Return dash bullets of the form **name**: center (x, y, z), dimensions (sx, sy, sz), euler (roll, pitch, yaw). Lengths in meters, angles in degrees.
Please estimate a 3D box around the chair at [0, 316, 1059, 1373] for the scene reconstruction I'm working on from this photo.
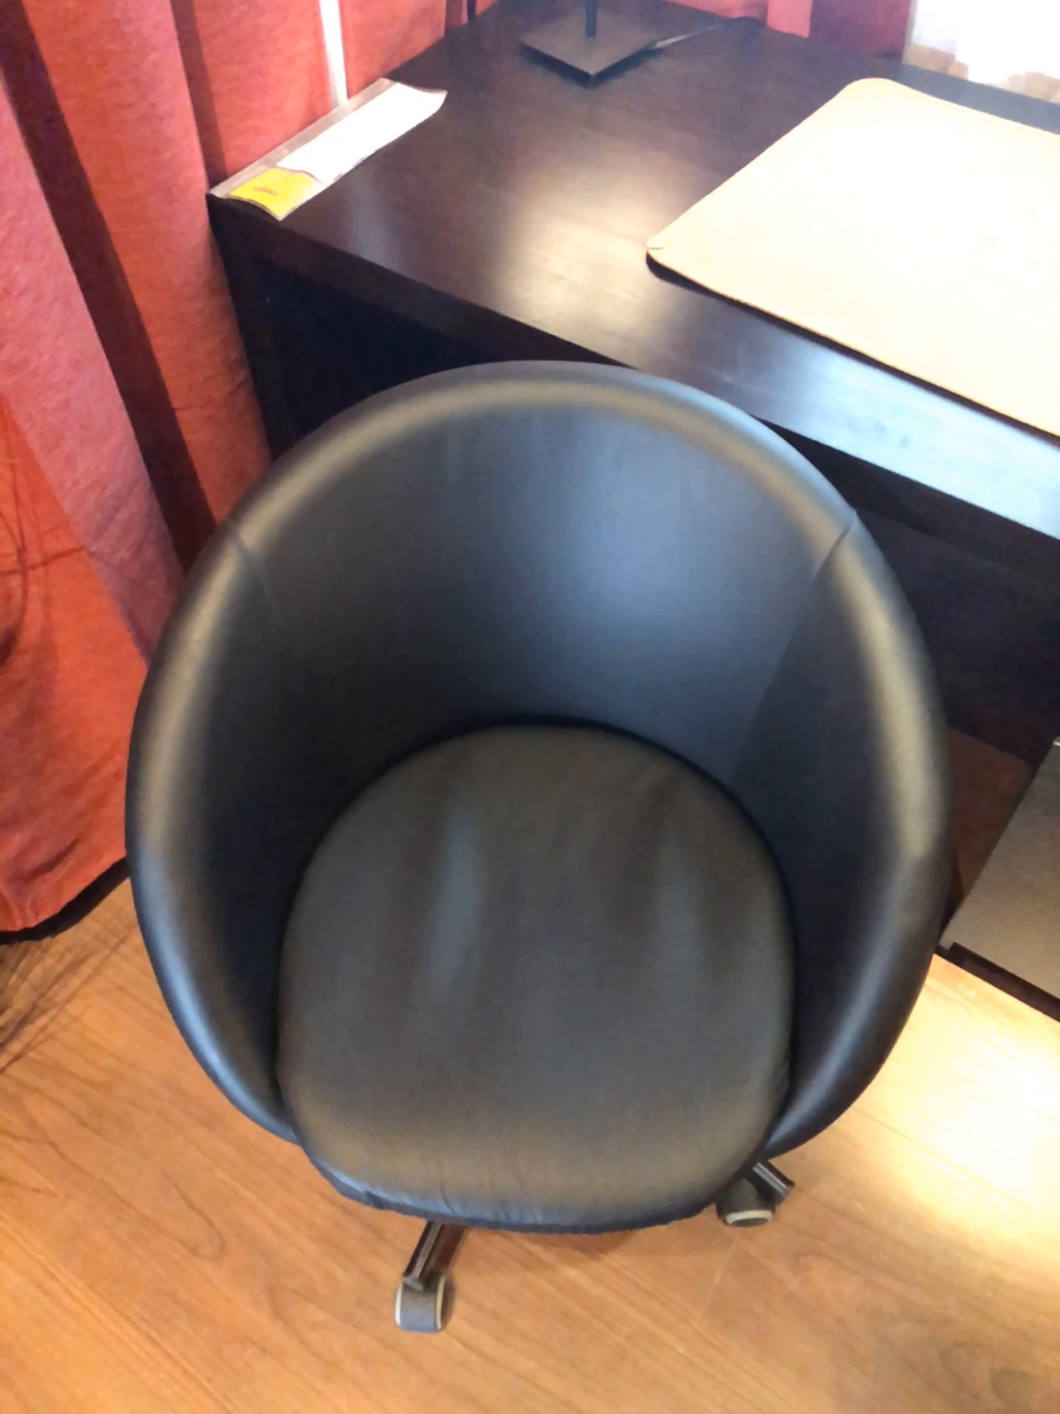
- **chair**: center (0.014, 0.164, 0.950), dimensions (0.630, 0.696, 0.573), euler (-2, 53, 1)
